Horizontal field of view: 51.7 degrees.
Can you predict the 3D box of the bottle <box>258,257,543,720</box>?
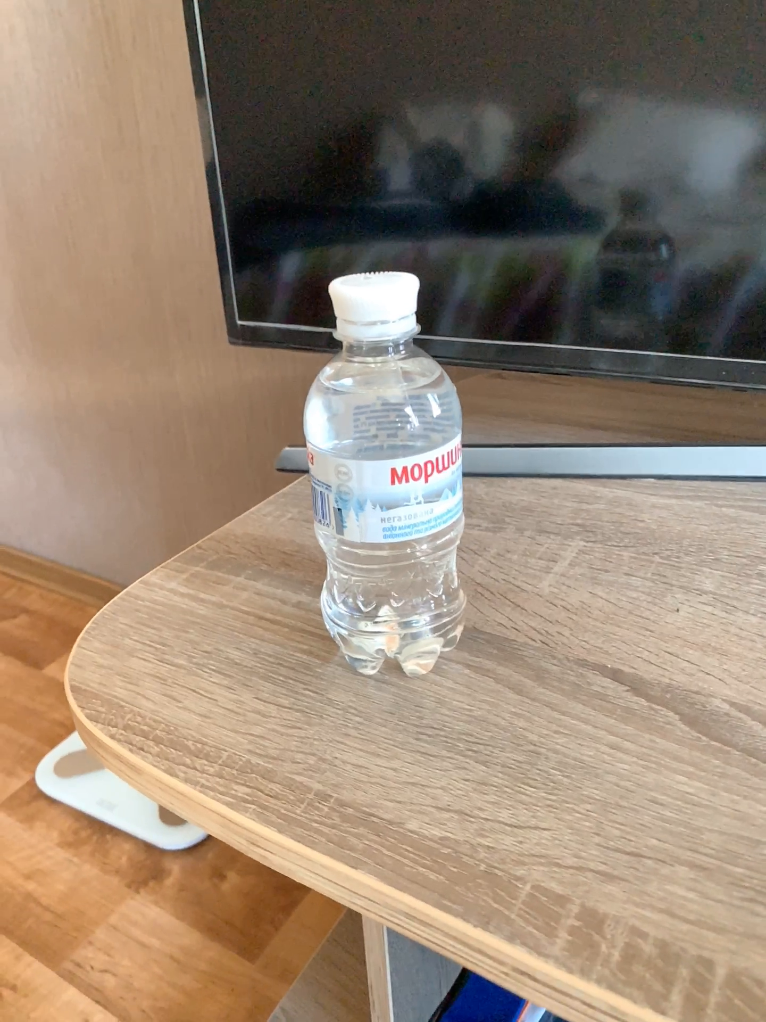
[{"bbox_3d":[0.011,-0.012,0.300,0.070,0.149,0.070,-2,25,1],"label":"bottle"}]
